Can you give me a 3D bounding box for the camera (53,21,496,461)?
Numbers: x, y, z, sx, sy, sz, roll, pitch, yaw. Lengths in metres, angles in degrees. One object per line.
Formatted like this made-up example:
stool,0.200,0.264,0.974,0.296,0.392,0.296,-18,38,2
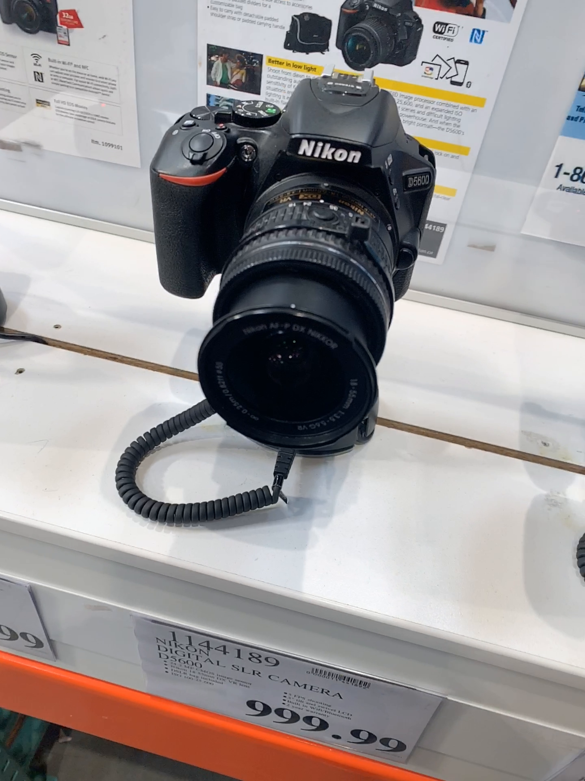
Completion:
camera,0.002,-0.066,0.230,0.111,0.090,0.141,11,43,3
